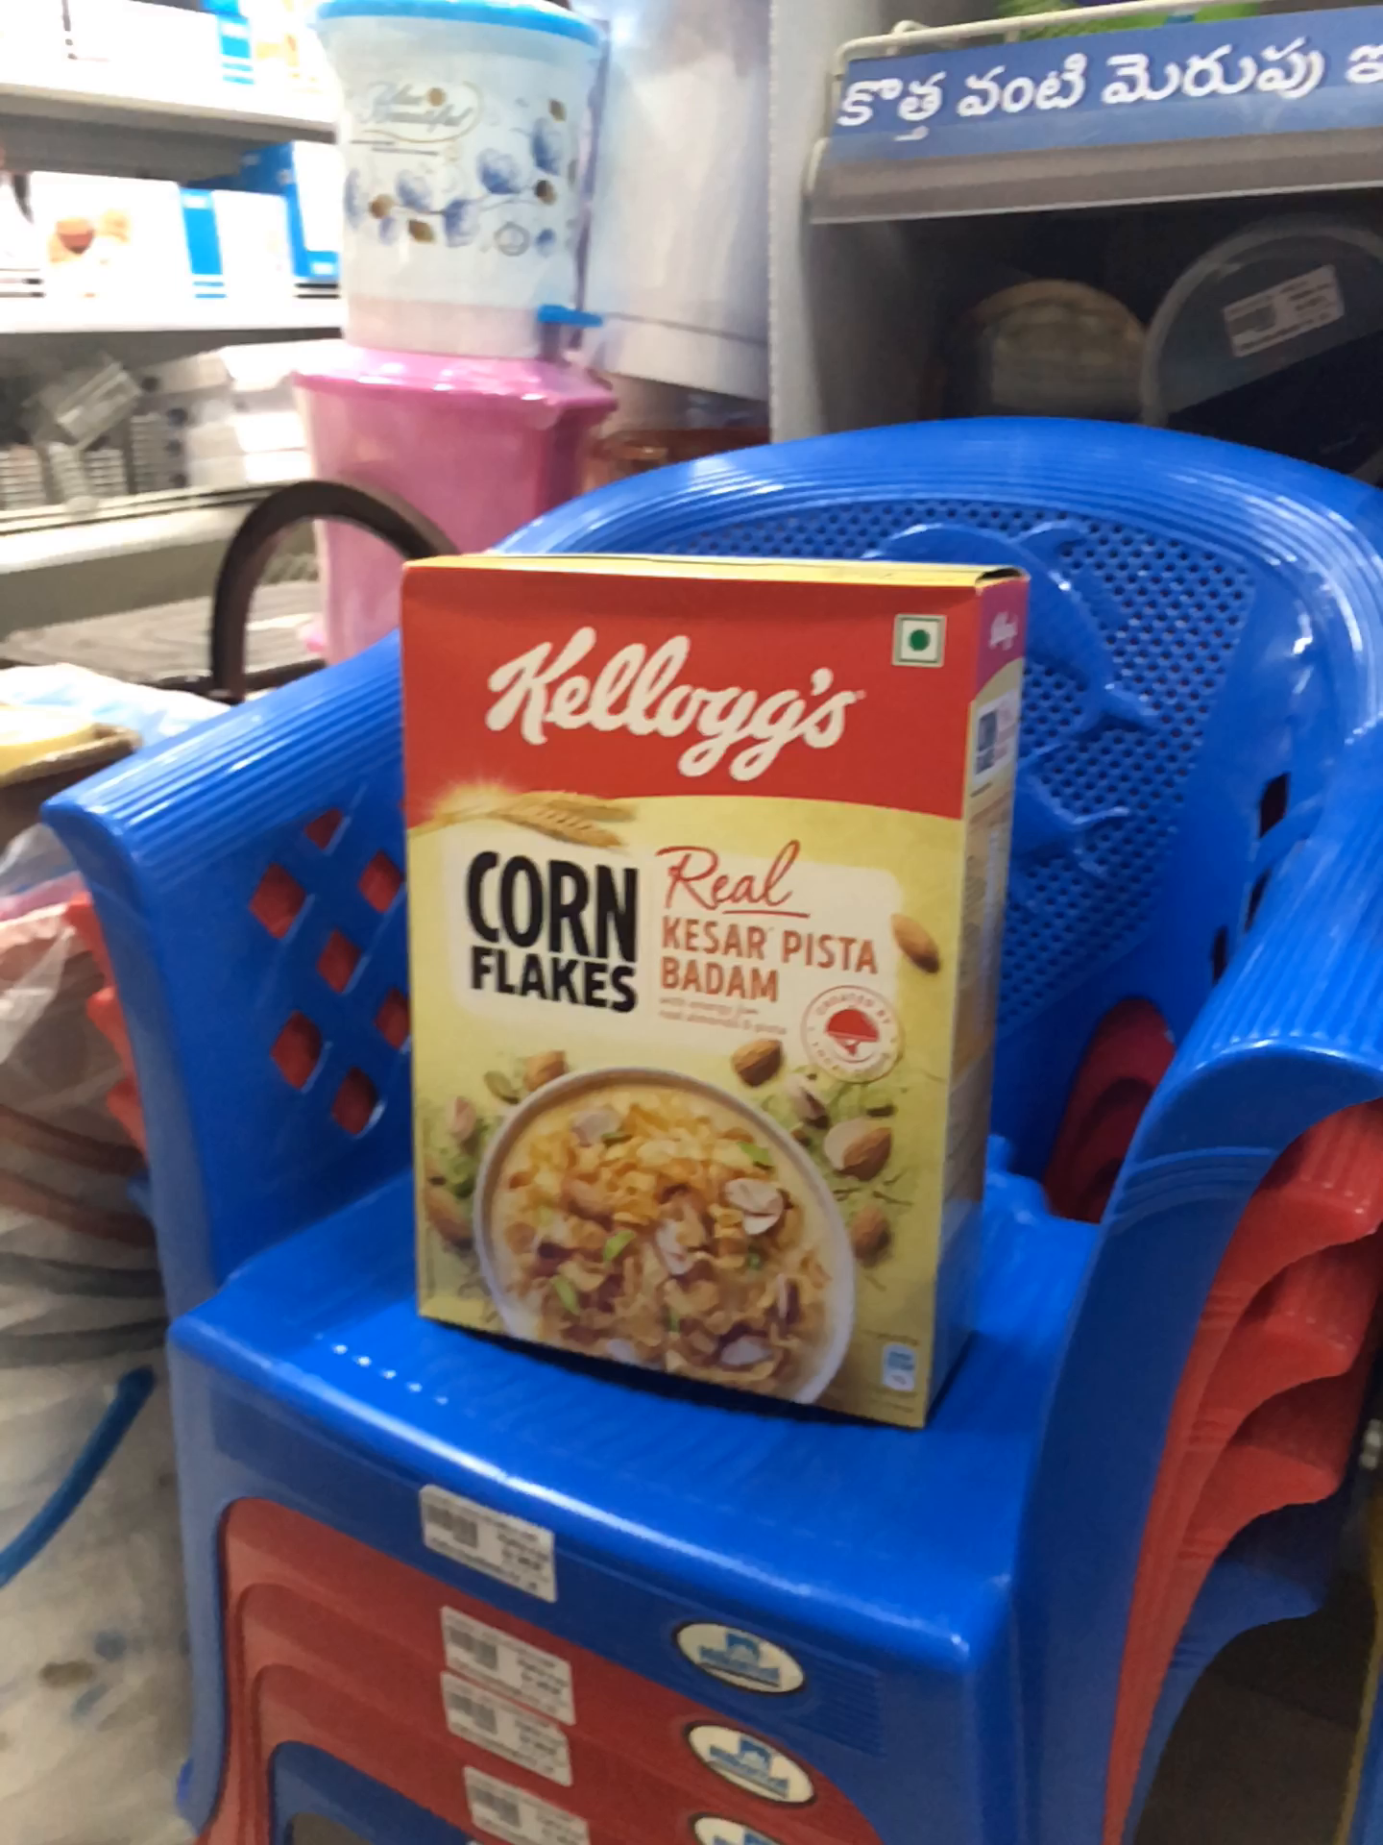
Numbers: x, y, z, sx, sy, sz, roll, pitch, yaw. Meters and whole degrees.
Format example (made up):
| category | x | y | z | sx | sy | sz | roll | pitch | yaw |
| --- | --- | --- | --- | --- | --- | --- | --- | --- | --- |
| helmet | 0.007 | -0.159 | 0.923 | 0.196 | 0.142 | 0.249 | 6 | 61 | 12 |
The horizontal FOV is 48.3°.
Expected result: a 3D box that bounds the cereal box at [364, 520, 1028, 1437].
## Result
| category | x | y | z | sx | sy | sz | roll | pitch | yaw |
| --- | --- | --- | --- | --- | --- | --- | --- | --- | --- |
| cereal box | 0.000 | 0.009 | 0.503 | 0.190 | 0.269 | 0.070 | 6 | 16 | 21 |
